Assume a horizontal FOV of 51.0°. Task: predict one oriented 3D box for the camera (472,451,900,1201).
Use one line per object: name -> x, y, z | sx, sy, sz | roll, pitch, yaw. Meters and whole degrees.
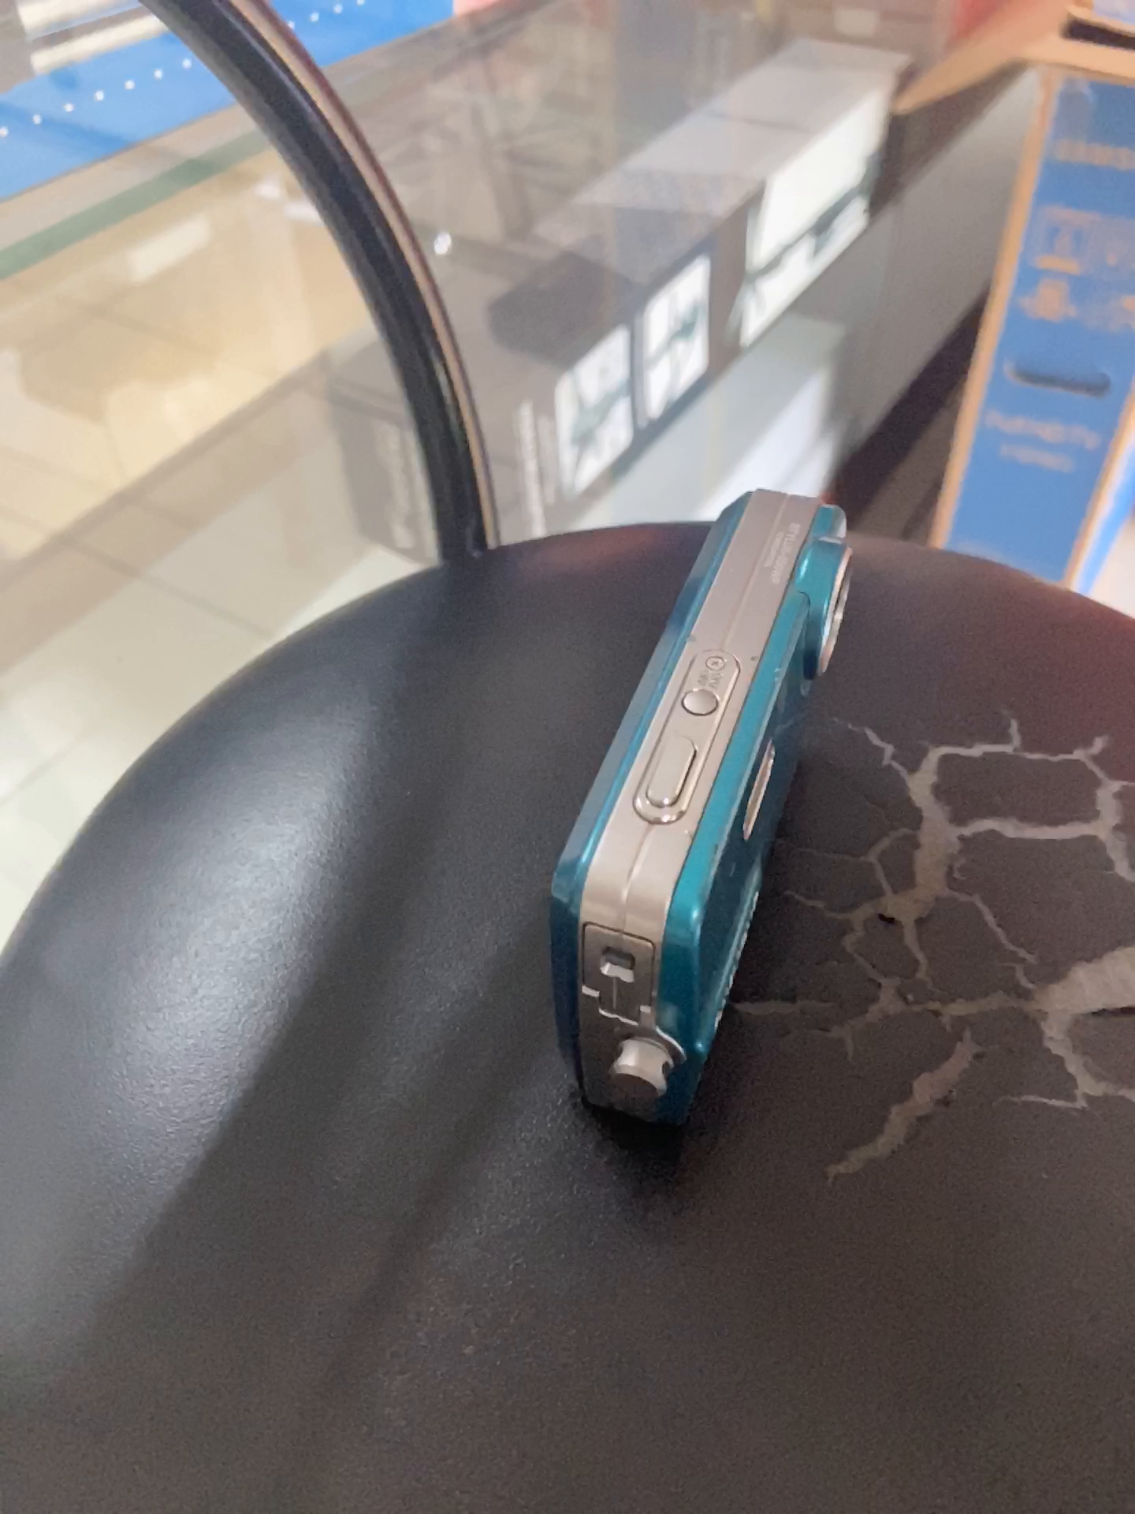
camera -> 0.022, 0.005, 0.178 | 0.030, 0.050, 0.101 | 14, 49, 15
